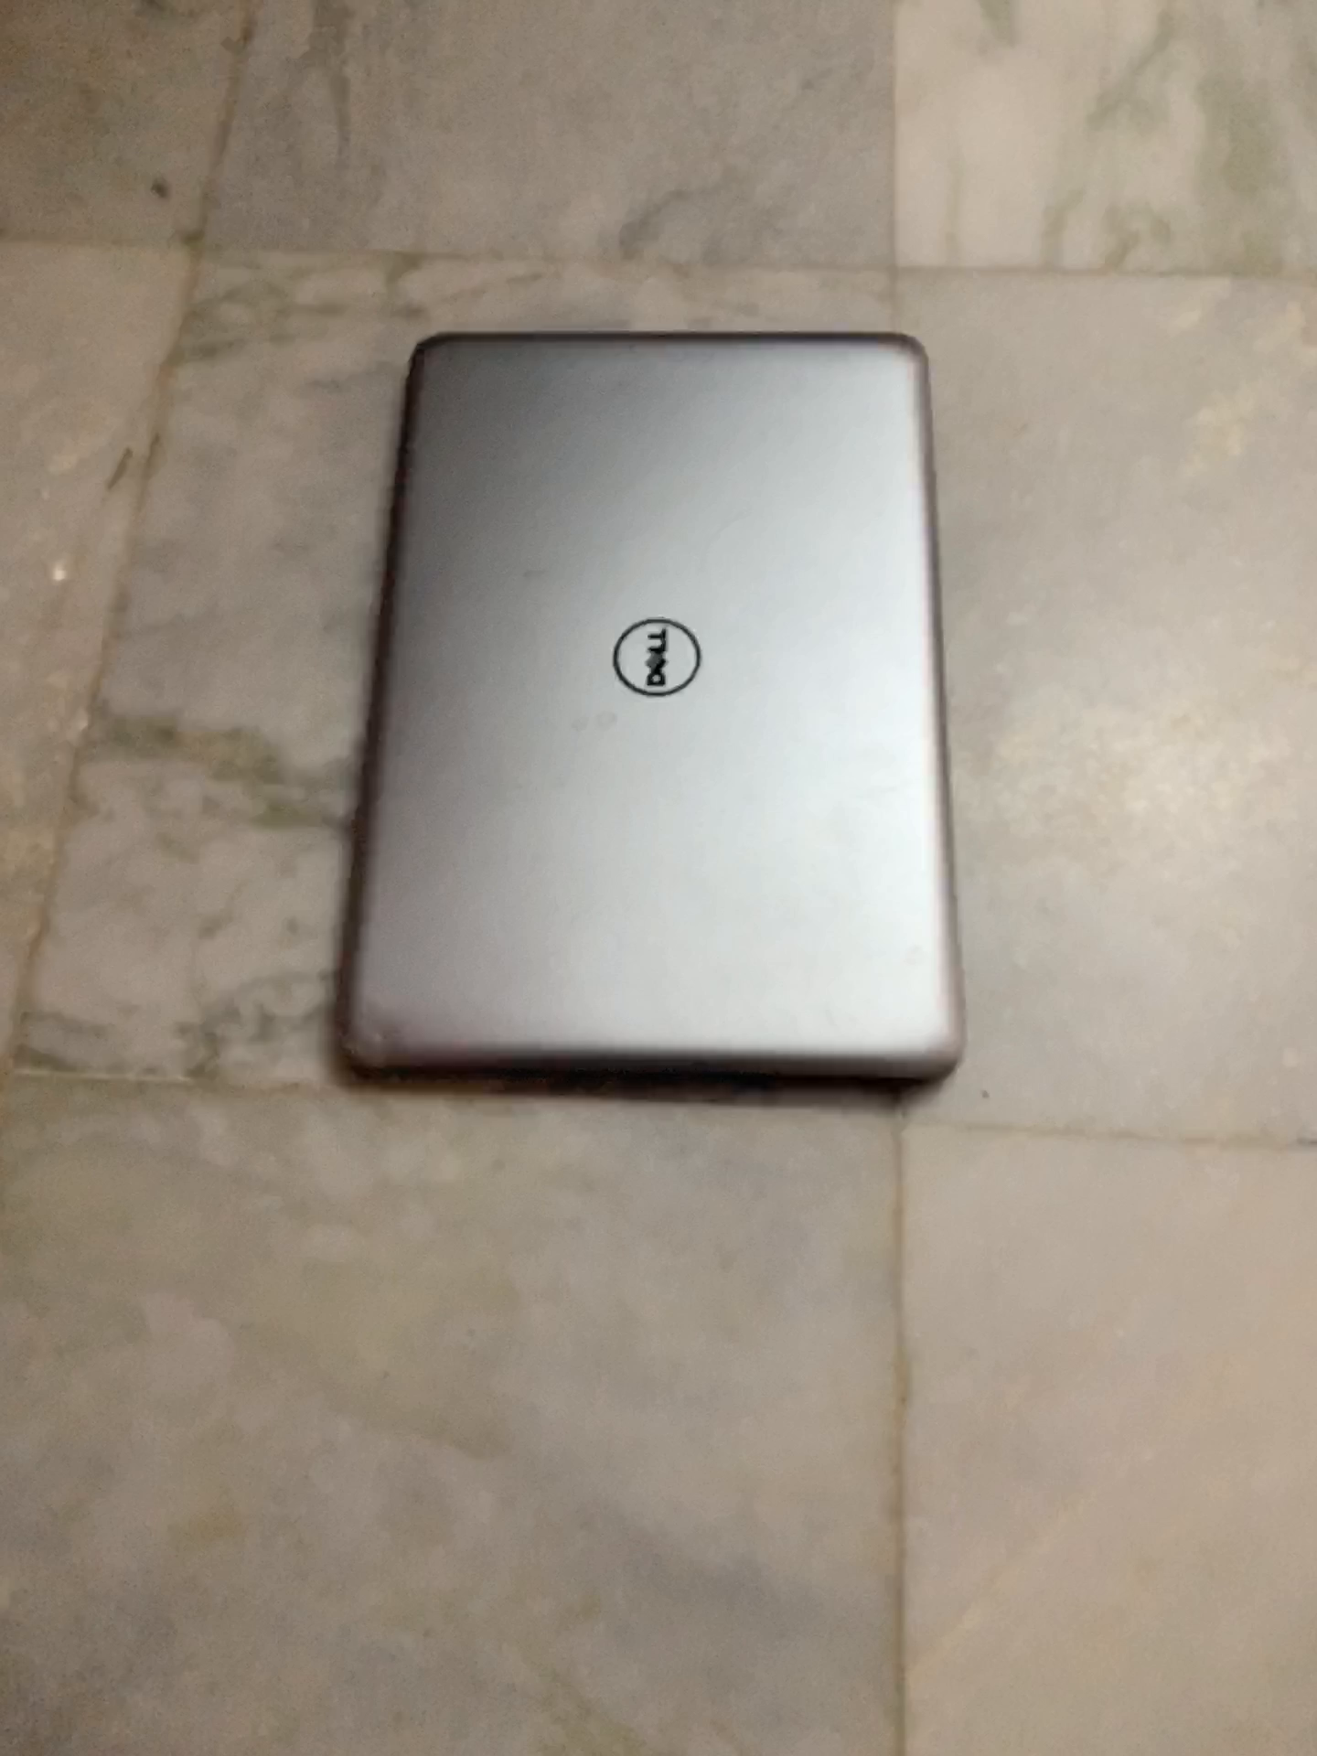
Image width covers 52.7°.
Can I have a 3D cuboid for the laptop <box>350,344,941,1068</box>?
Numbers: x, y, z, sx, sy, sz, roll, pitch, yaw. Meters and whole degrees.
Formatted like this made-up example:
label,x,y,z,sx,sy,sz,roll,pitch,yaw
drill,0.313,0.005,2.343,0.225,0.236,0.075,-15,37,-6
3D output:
label,x,y,z,sx,sy,sz,roll,pitch,yaw
laptop,0.000,-0.093,0.585,0.234,0.001,0.352,1,70,2
